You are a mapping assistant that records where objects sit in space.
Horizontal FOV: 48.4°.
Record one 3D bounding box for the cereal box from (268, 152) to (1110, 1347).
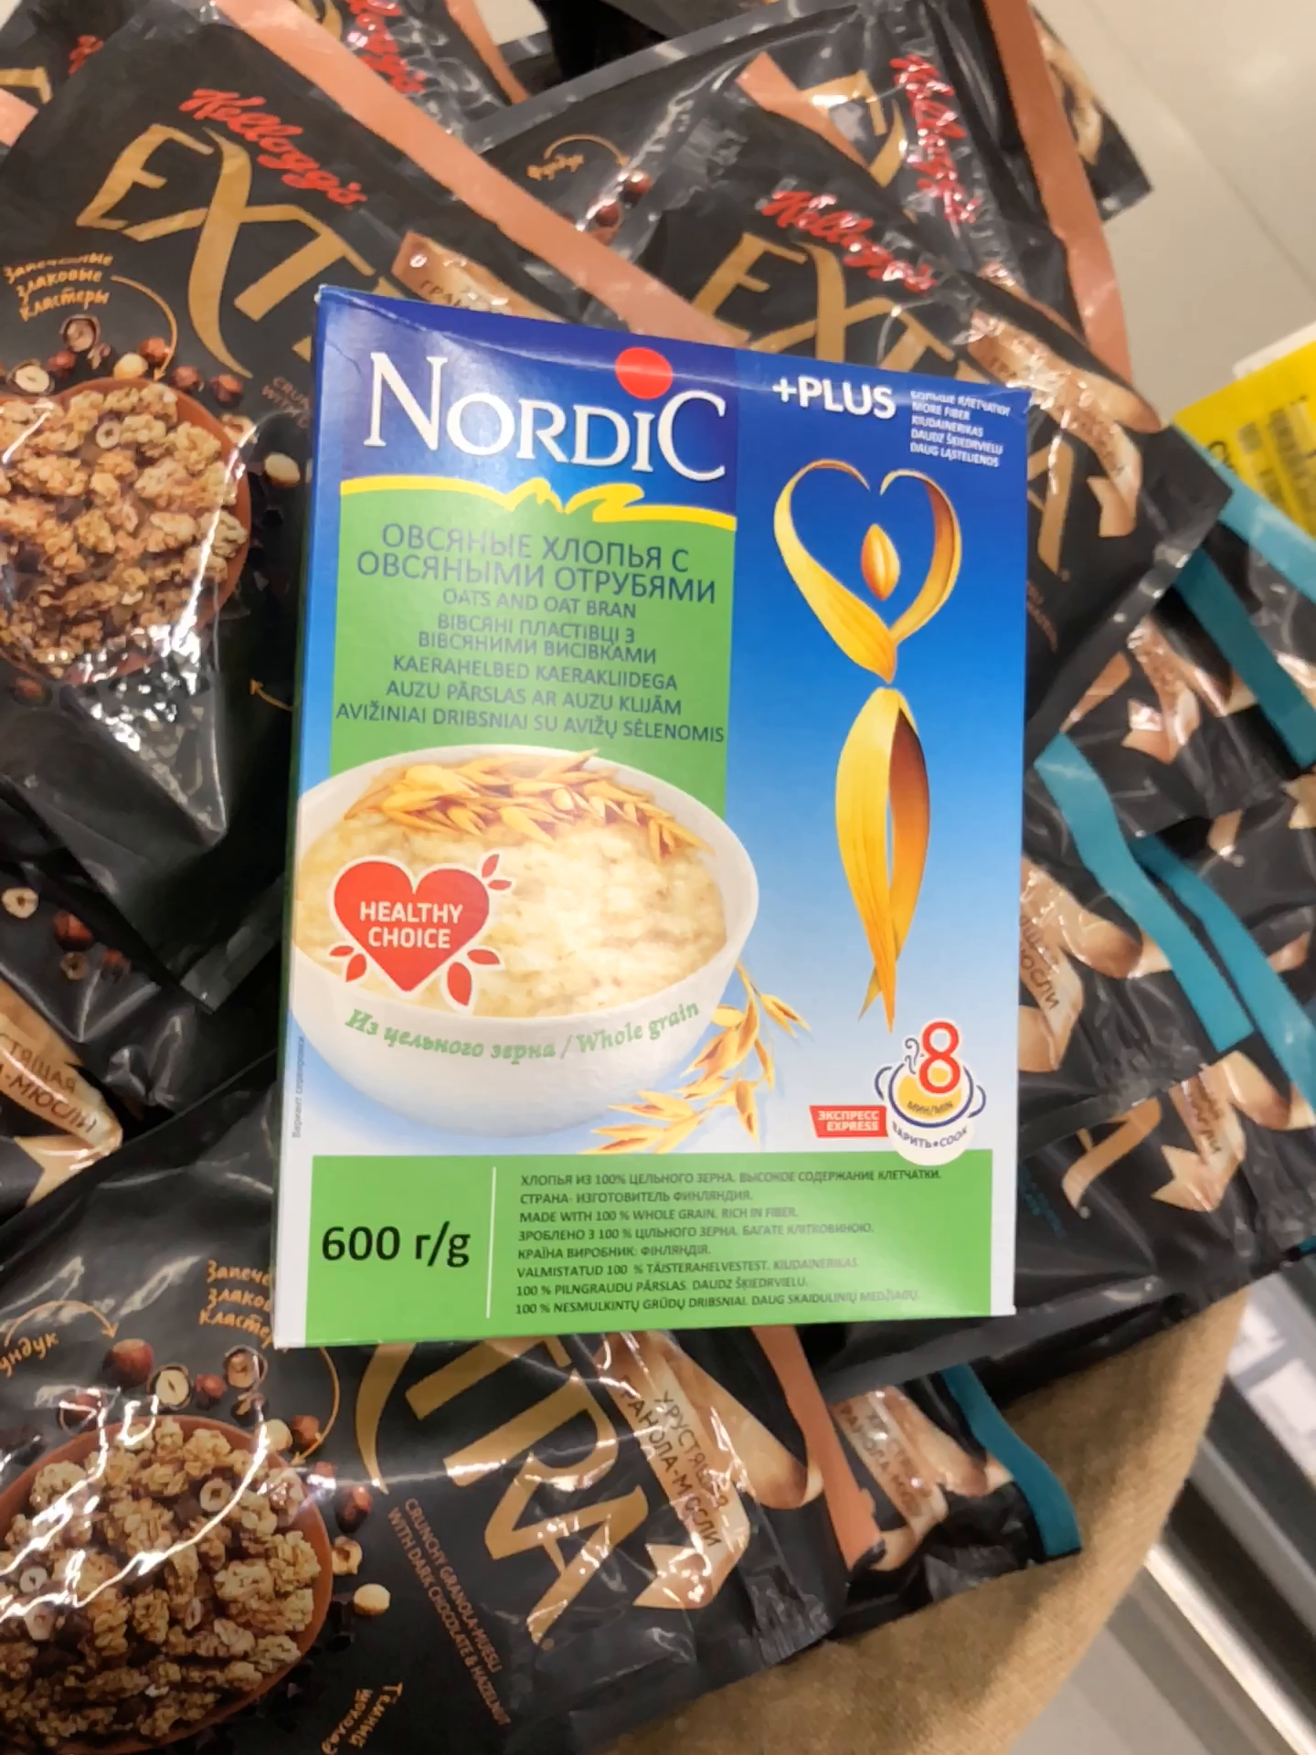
[{"bbox_3d":[0.003,-0.020,0.315,0.160,0.080,0.210,2,87,-15],"label":"cereal box"}]
